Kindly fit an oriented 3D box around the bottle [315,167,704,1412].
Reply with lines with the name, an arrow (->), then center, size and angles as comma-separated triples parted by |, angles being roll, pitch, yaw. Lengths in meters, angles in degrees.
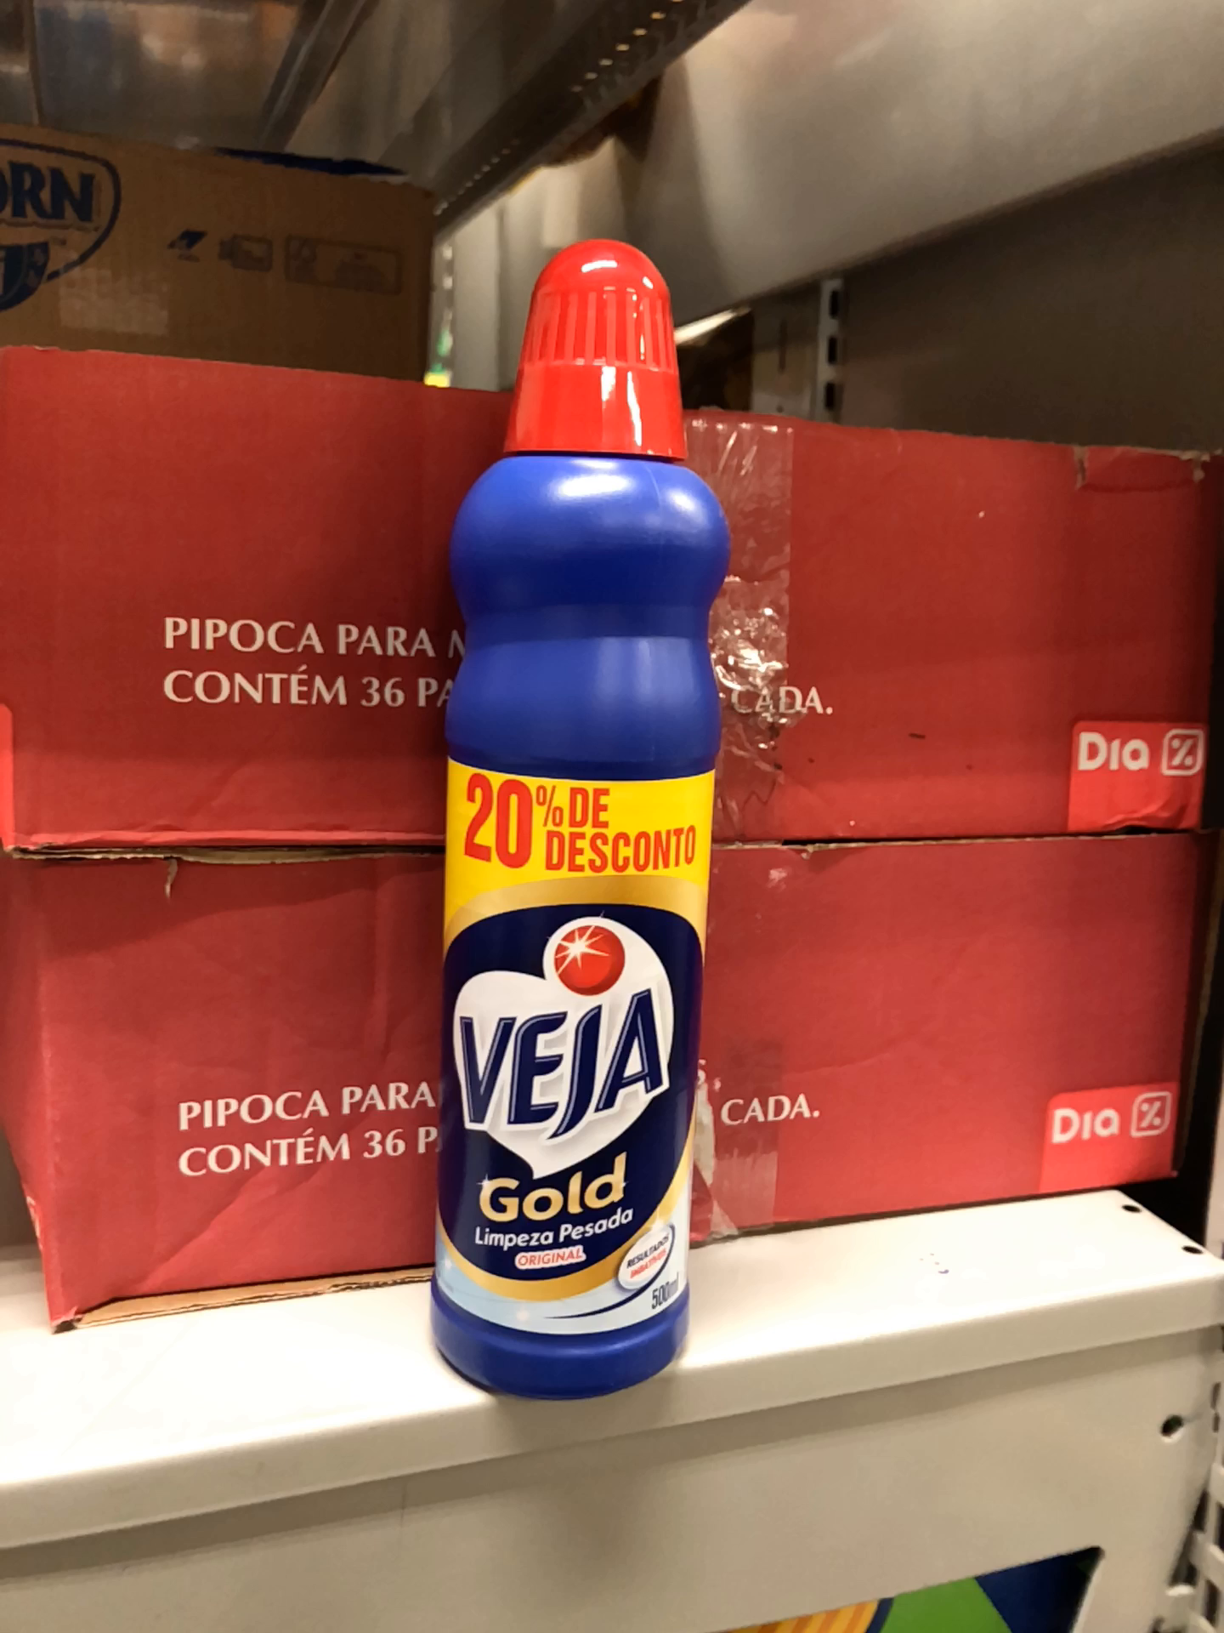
bottle -> -0.019, -0.002, 0.304 | 0.070, 0.249, 0.070 | 0, 11, 0
